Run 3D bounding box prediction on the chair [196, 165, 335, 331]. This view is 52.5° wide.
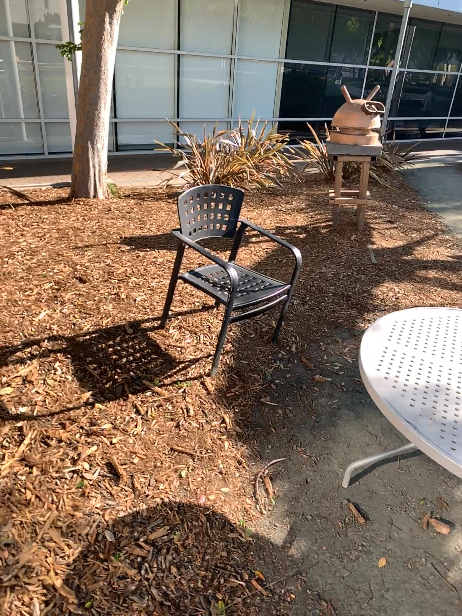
[{"bbox_3d":[0.172,-0.366,2.635,0.521,0.716,0.502,-22,37,-40],"label":"chair"}]
